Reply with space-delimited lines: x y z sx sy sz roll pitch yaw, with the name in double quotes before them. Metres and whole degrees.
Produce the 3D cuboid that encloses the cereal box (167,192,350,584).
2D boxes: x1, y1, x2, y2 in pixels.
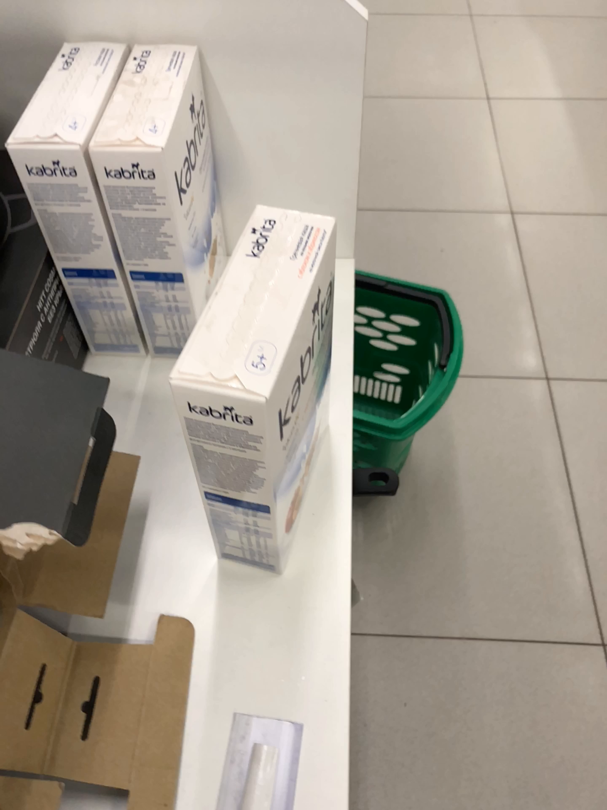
"cereal box" -0.016 0.000 0.411 0.050 0.199 0.141 12 55 10
